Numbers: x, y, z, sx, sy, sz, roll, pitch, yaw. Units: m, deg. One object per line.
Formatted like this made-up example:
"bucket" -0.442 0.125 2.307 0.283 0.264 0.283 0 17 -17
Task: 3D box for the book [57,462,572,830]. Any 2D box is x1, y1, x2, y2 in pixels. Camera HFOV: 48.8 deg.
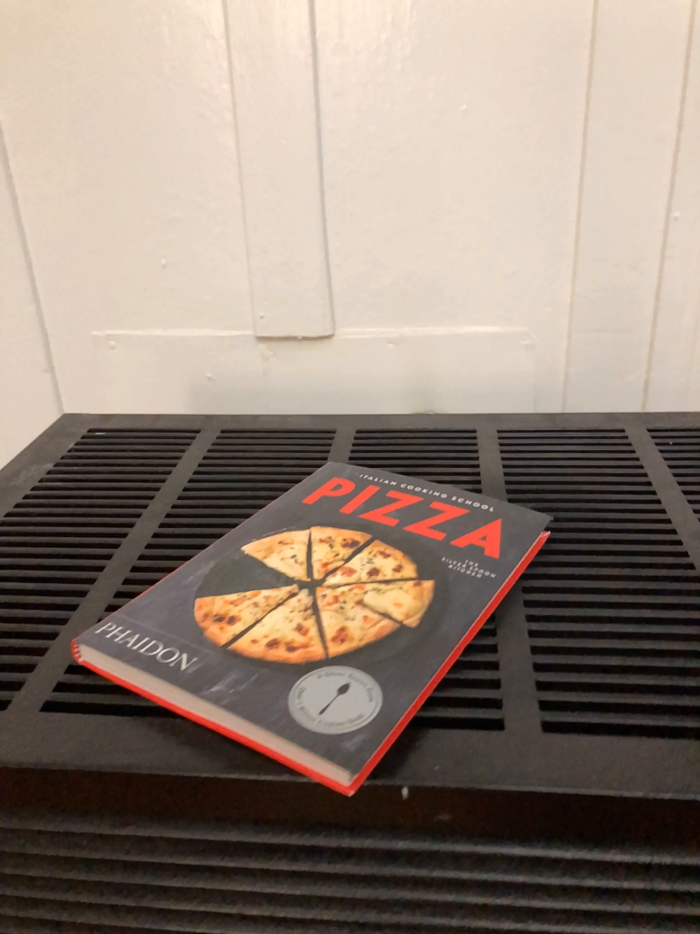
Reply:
"book" -0.005 0.068 0.423 0.180 0.020 0.231 13 30 30
